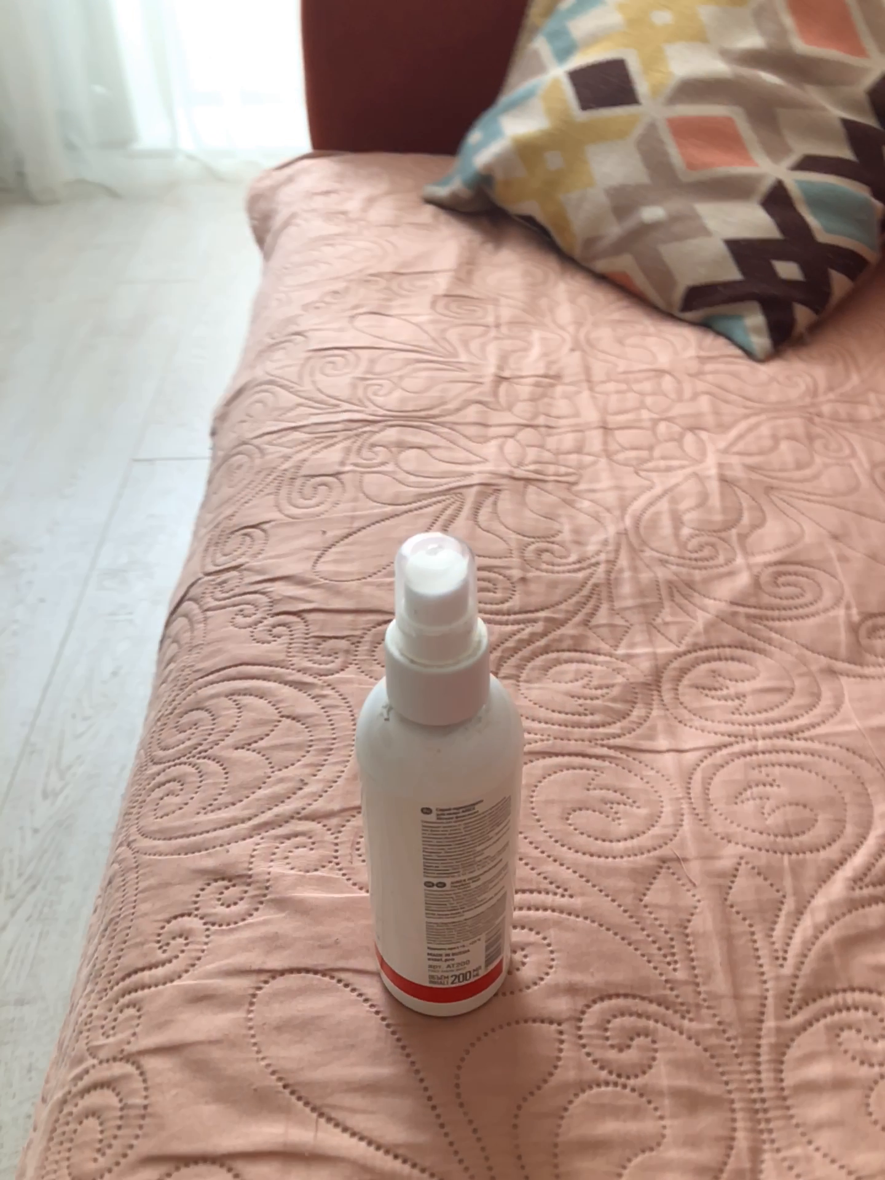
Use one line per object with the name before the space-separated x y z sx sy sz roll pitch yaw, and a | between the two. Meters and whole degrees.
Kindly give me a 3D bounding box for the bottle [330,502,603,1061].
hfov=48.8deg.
bottle | 0.008 0.063 0.278 0.050 0.169 0.050 -1 39 0
